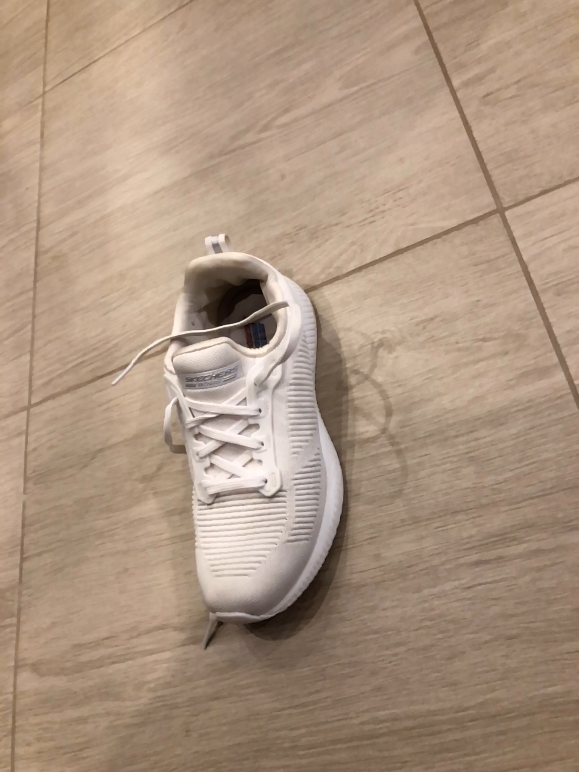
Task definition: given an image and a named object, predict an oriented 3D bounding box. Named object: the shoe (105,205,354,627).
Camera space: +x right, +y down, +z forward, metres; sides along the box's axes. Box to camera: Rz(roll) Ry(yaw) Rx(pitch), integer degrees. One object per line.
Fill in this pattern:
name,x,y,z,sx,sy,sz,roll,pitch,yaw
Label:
shoe,-0.029,0.027,0.401,0.090,0.119,0.231,-12,65,24
